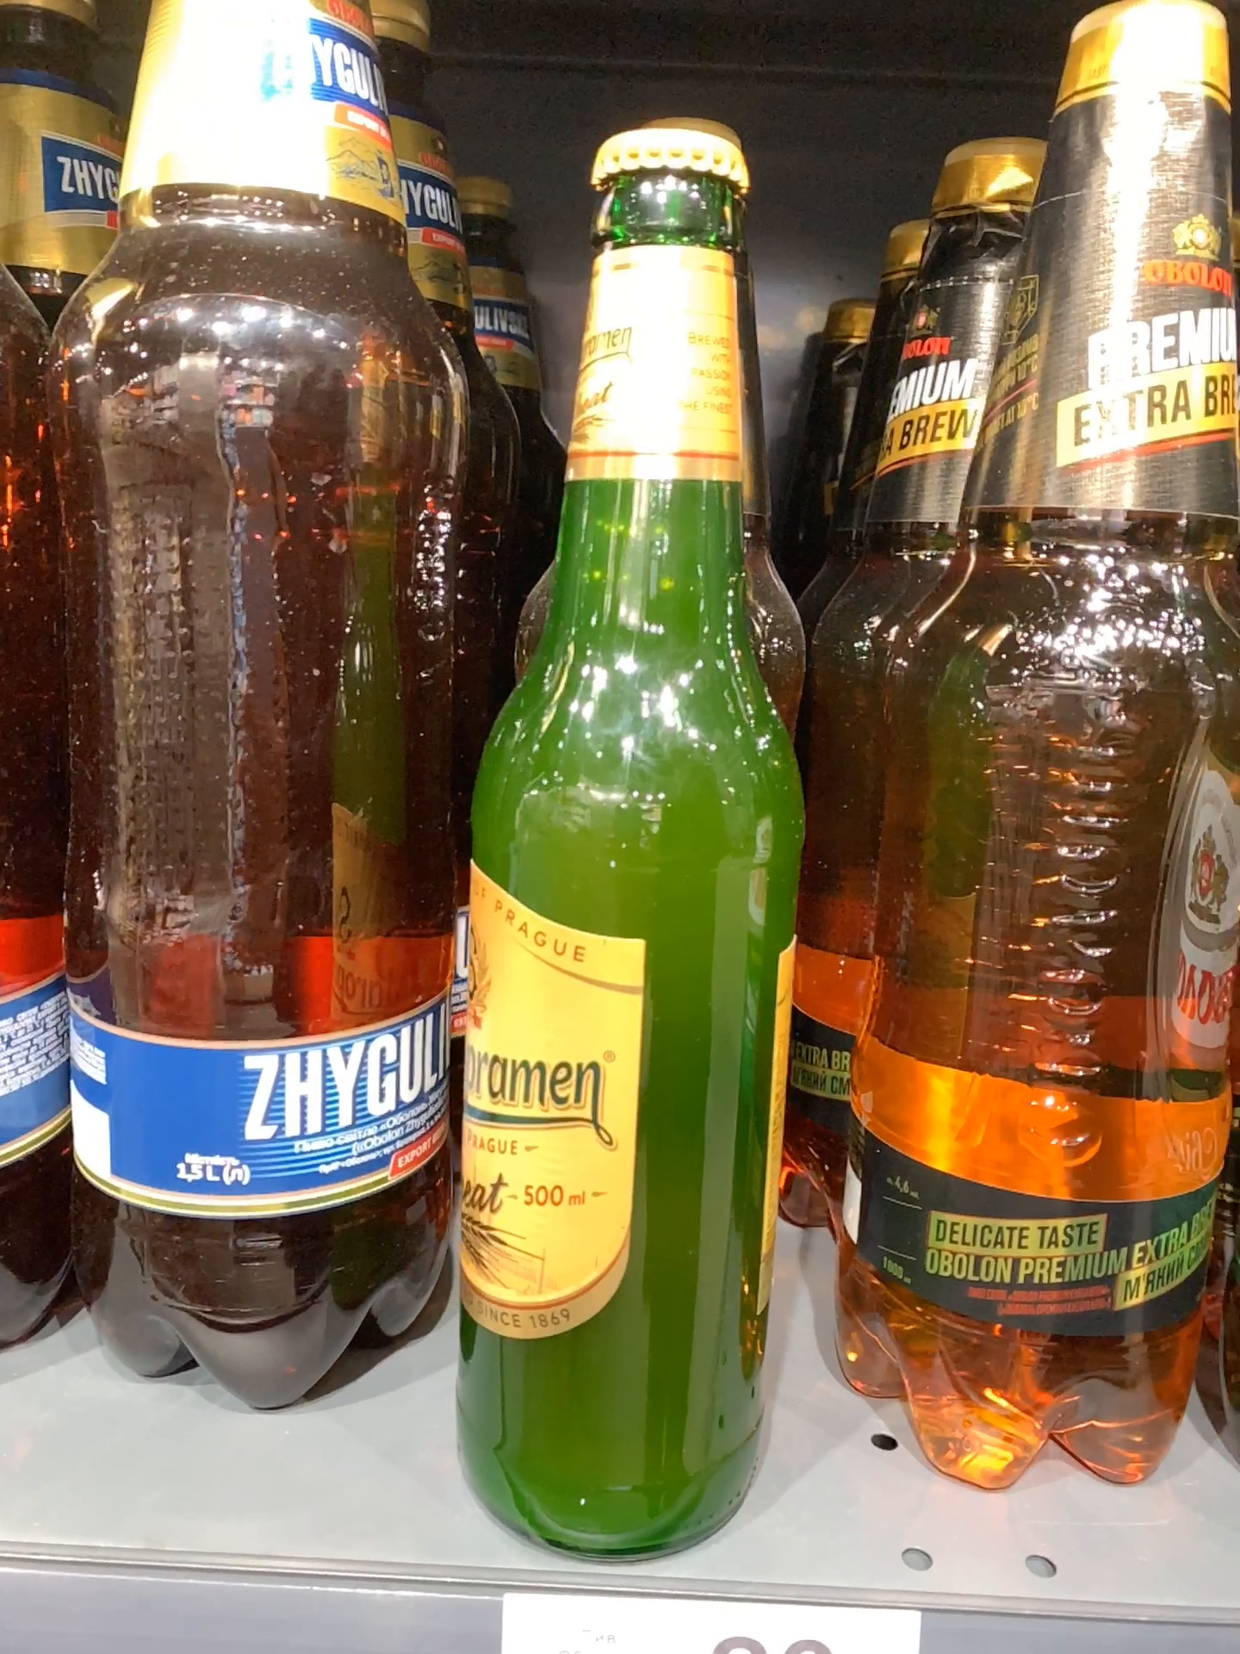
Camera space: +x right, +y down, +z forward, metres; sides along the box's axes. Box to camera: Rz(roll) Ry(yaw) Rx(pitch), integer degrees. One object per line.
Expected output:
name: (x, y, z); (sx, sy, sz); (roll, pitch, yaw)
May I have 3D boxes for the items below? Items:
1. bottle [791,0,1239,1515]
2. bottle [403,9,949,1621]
bottle: (0.089, -0.013, 0.251); (0.075, 0.270, 0.066); (0, 11, -12)
bottle: (0.005, 0.004, 0.244); (0.067, 0.255, 0.062); (2, 11, 0)
